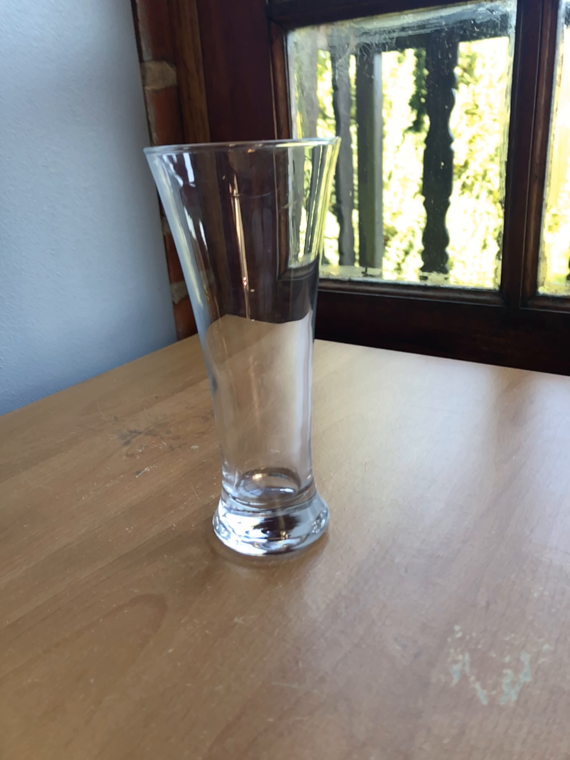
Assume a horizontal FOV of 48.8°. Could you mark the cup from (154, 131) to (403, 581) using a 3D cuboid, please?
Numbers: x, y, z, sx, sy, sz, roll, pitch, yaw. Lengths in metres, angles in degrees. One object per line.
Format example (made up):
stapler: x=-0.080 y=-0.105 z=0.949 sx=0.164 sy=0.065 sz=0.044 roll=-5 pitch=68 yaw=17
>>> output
cup: x=-0.006 y=-0.016 z=0.274 sx=0.076 sy=0.168 sz=0.083 roll=-1 pitch=20 yaw=1
